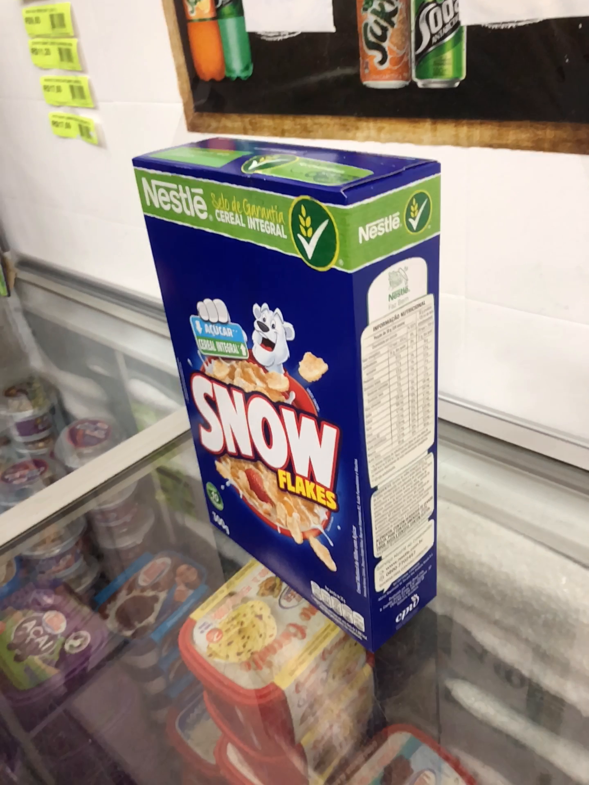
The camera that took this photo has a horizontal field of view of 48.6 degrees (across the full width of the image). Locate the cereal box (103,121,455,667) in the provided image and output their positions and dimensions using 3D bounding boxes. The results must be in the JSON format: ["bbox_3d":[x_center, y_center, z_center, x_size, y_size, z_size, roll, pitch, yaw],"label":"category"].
[{"bbox_3d":[-0.004,-0.004,0.365,0.070,0.258,0.171,-28,37,-31],"label":"cereal box"}]
